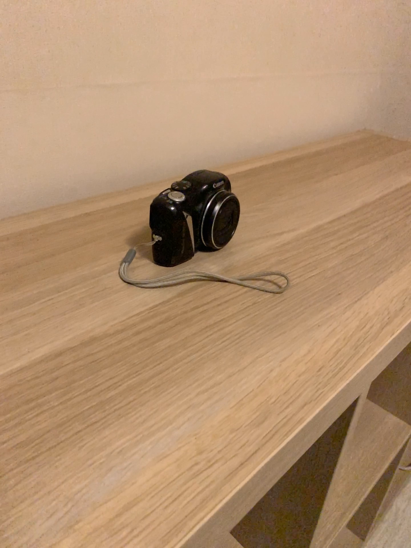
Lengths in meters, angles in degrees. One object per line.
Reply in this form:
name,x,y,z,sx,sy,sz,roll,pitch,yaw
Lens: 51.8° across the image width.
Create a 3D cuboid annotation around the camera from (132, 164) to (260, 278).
camera,-0.005,-0.057,0.408,0.068,0.059,0.121,17,33,23
